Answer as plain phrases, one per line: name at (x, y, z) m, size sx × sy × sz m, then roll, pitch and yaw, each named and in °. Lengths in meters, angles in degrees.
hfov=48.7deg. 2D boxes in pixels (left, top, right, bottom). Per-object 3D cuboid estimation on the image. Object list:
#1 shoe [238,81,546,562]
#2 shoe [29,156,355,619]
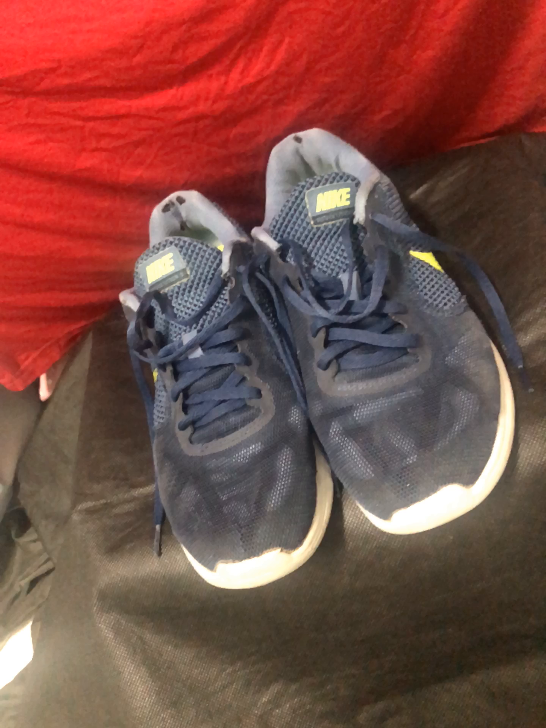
shoe at (0.058, -0.042, 0.346) m, size 0.110 × 0.089 × 0.262 m, roll -21°, pitch 46°, yaw 14°
shoe at (-0.043, 0.002, 0.349) m, size 0.110 × 0.099 × 0.232 m, roll -21°, pitch 46°, yaw 14°
